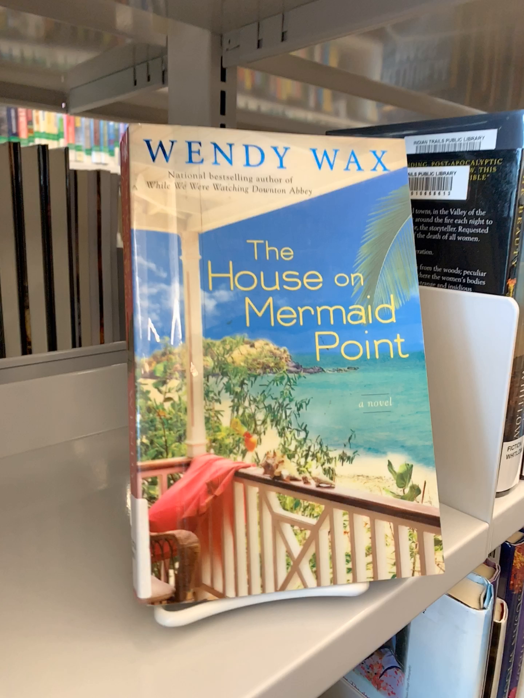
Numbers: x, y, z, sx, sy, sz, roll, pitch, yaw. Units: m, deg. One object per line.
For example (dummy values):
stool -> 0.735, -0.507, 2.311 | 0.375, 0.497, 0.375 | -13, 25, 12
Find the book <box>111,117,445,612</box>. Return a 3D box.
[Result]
book -> 0.003, 0.001, 0.245 | 0.131, 0.193, 0.043 | -2, -6, -11
